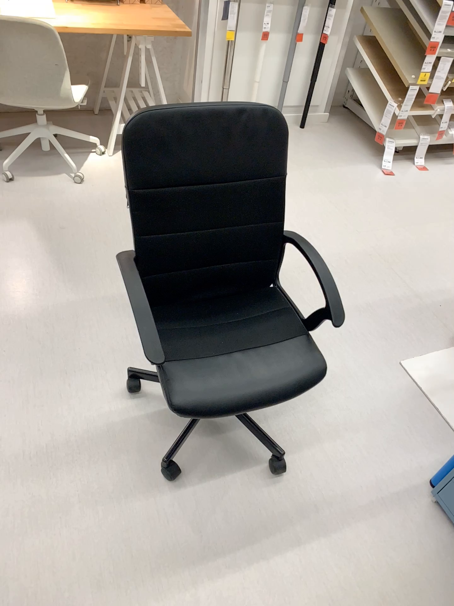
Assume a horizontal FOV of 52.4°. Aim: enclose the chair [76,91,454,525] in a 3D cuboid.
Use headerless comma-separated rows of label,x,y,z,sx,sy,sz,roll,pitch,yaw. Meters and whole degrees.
chair,-0.008,0.034,1.300,0.611,0.996,0.582,-12,47,-22
